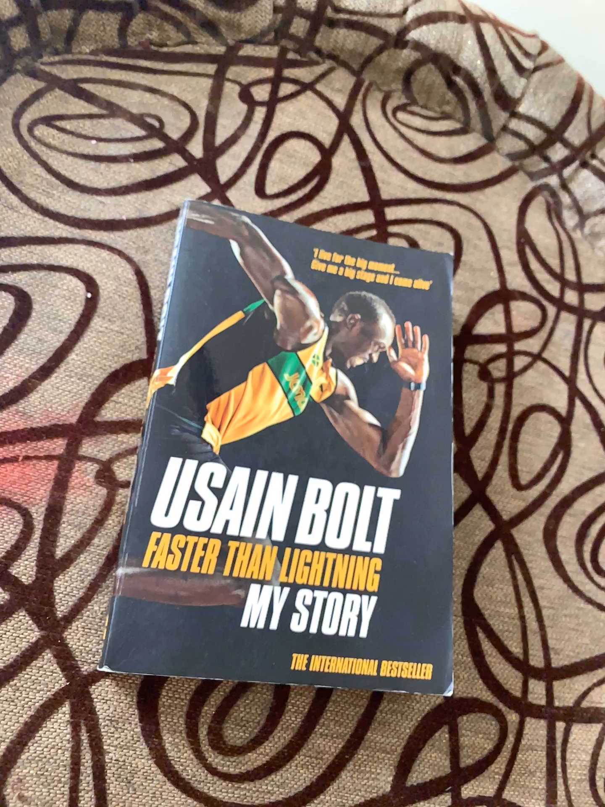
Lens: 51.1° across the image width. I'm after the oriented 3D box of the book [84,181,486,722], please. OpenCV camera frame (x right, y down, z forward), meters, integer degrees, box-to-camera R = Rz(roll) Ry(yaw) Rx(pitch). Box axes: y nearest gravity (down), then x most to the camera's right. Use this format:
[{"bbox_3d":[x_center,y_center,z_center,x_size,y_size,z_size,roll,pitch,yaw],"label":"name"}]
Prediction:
[{"bbox_3d":[0.004,0.015,0.263,0.140,0.030,0.201,10,68,-12],"label":"book"}]
